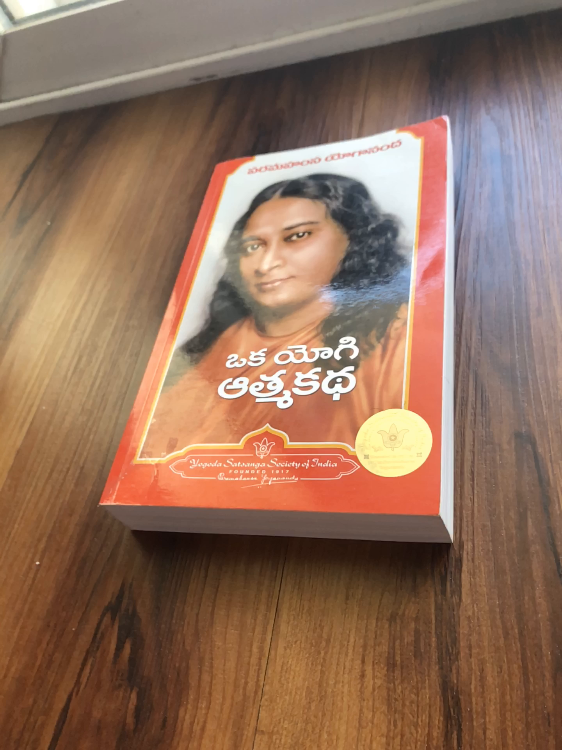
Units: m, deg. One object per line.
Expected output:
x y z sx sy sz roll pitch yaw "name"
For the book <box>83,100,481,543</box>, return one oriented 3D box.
0.013 -0.035 0.290 0.148 0.030 0.215 -3 54 22 "book"
